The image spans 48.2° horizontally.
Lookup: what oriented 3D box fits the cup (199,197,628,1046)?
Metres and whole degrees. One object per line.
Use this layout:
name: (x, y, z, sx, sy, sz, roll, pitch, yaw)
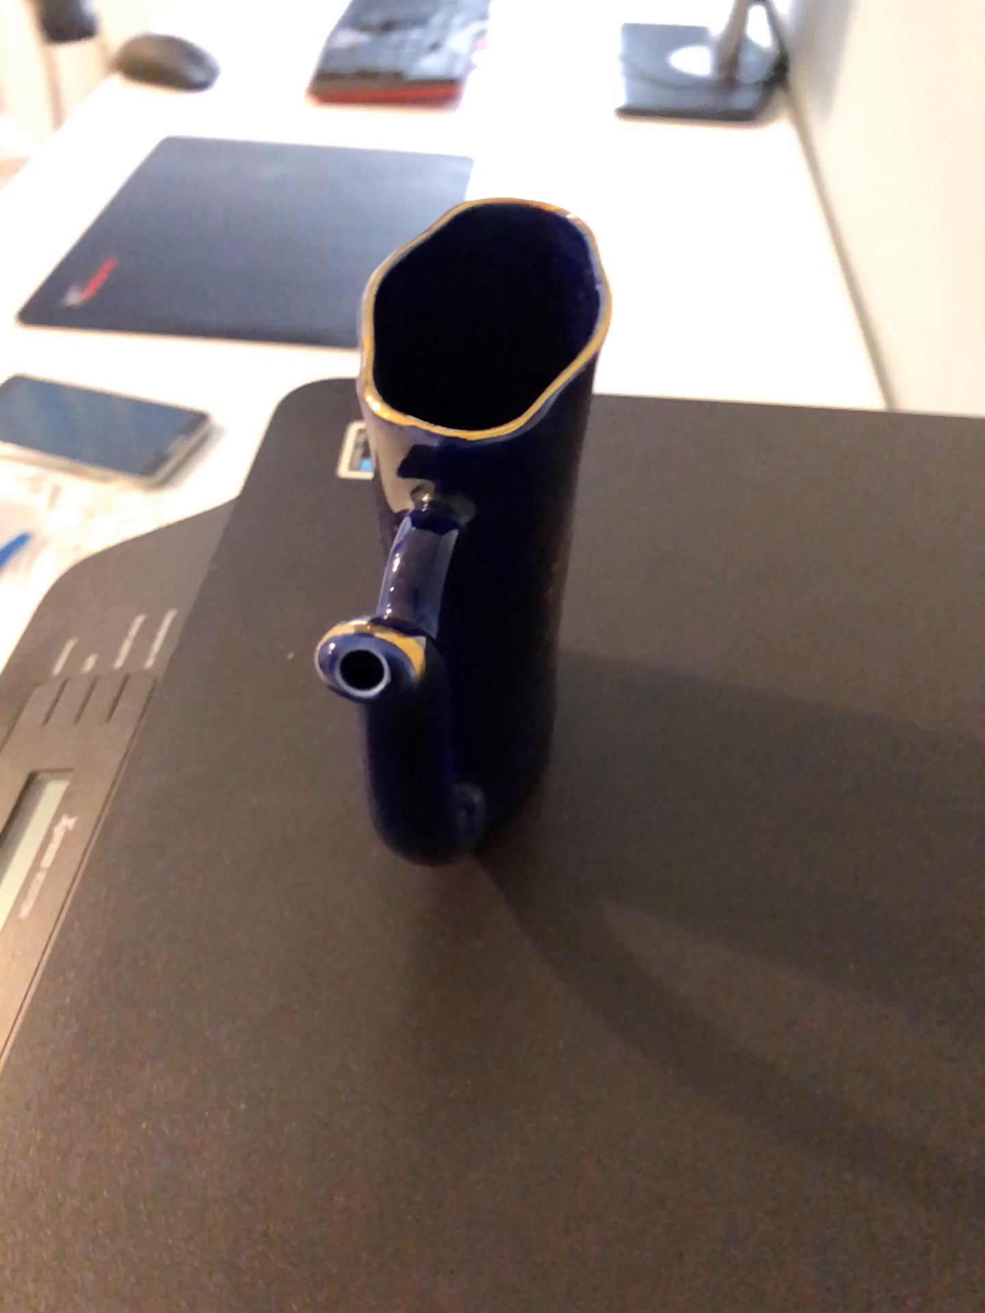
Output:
cup: (-0.005, -0.010, 0.225, 0.050, 0.109, 0.131, 6, 46, 5)
